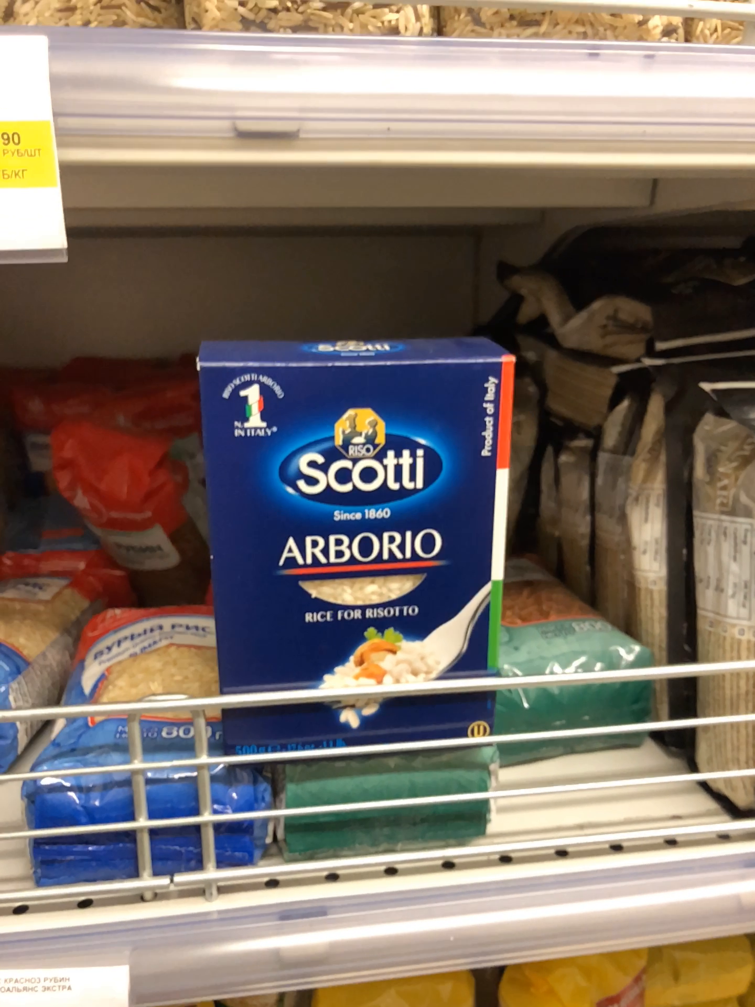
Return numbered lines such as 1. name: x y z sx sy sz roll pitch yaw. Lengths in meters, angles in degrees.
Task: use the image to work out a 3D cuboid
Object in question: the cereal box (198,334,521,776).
1. cereal box: -0.008 0.018 0.332 0.110 0.159 0.050 -3 18 -9
